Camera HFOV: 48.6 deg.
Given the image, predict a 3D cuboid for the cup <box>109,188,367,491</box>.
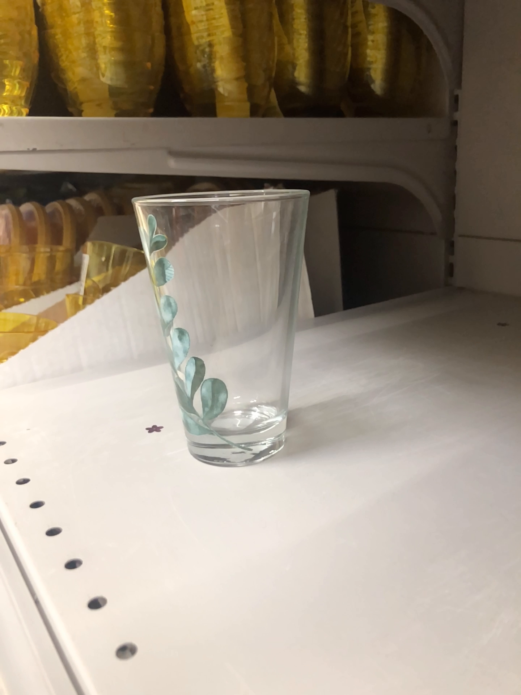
[{"bbox_3d":[-0.011,-0.014,0.269,0.084,0.114,0.083,-1,16,0],"label":"cup"}]
